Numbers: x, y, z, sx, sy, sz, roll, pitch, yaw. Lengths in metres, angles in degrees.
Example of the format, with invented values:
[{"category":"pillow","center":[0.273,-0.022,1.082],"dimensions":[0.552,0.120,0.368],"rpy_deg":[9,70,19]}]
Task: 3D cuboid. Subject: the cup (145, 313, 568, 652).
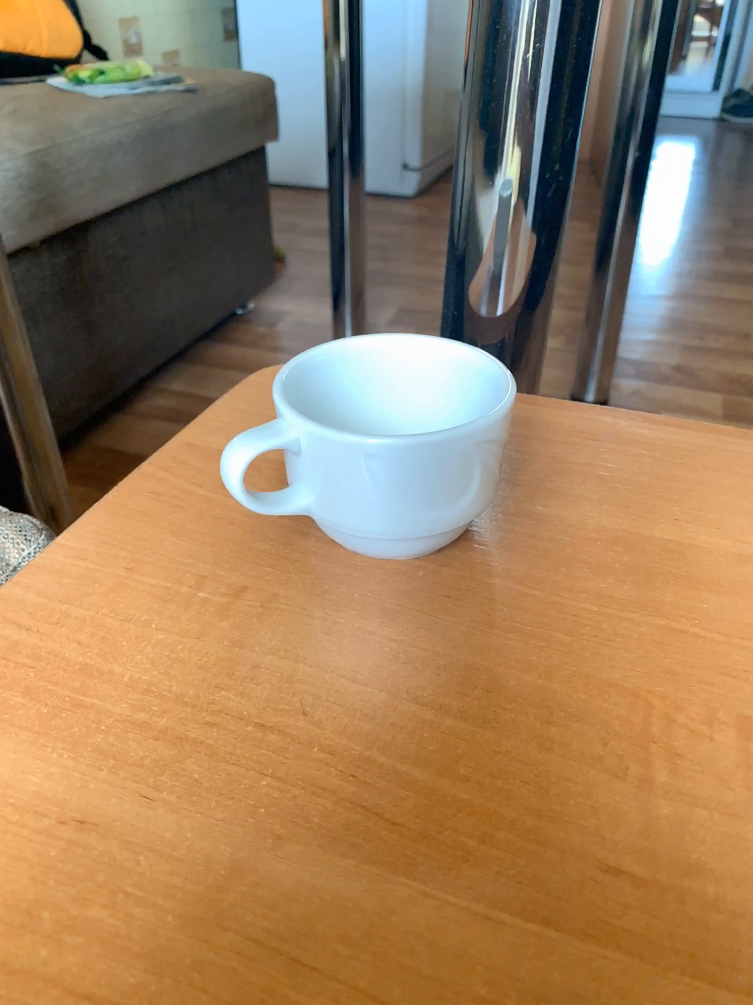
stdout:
[{"category":"cup","center":[-0.008,-0.014,0.248],"dimensions":[0.100,0.050,0.080],"rpy_deg":[-18,38,-25]}]
